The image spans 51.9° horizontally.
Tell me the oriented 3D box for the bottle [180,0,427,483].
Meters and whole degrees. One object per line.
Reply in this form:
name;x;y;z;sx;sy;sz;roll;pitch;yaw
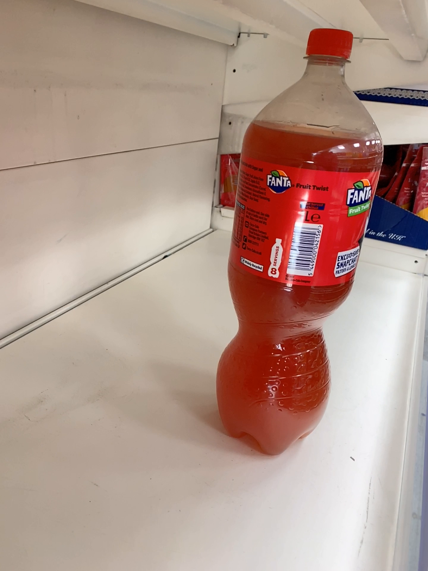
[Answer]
bottle;0.057;-0.024;0.355;0.110;0.327;0.121;5;24;-2
